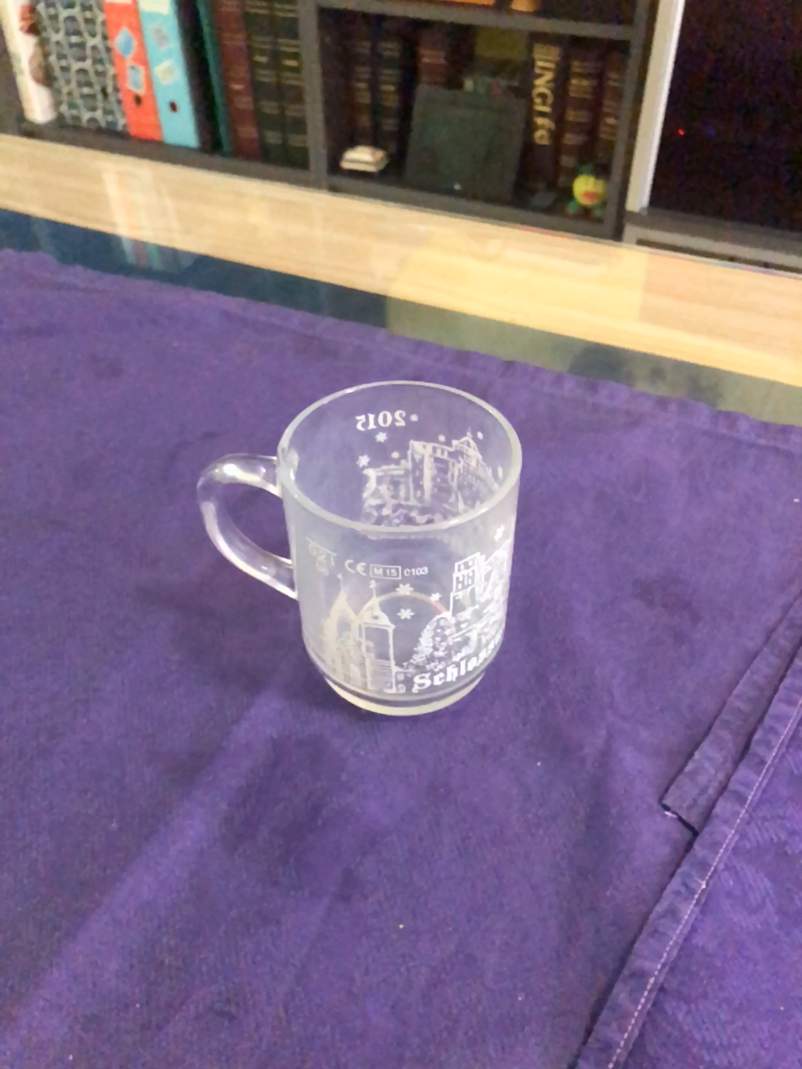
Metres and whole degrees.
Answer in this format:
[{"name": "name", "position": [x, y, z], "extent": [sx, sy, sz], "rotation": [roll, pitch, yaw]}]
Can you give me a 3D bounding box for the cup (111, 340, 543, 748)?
[{"name": "cup", "position": [-0.017, 0.000, 0.274], "extent": [0.100, 0.080, 0.070], "rotation": [12, 43, 14]}]
